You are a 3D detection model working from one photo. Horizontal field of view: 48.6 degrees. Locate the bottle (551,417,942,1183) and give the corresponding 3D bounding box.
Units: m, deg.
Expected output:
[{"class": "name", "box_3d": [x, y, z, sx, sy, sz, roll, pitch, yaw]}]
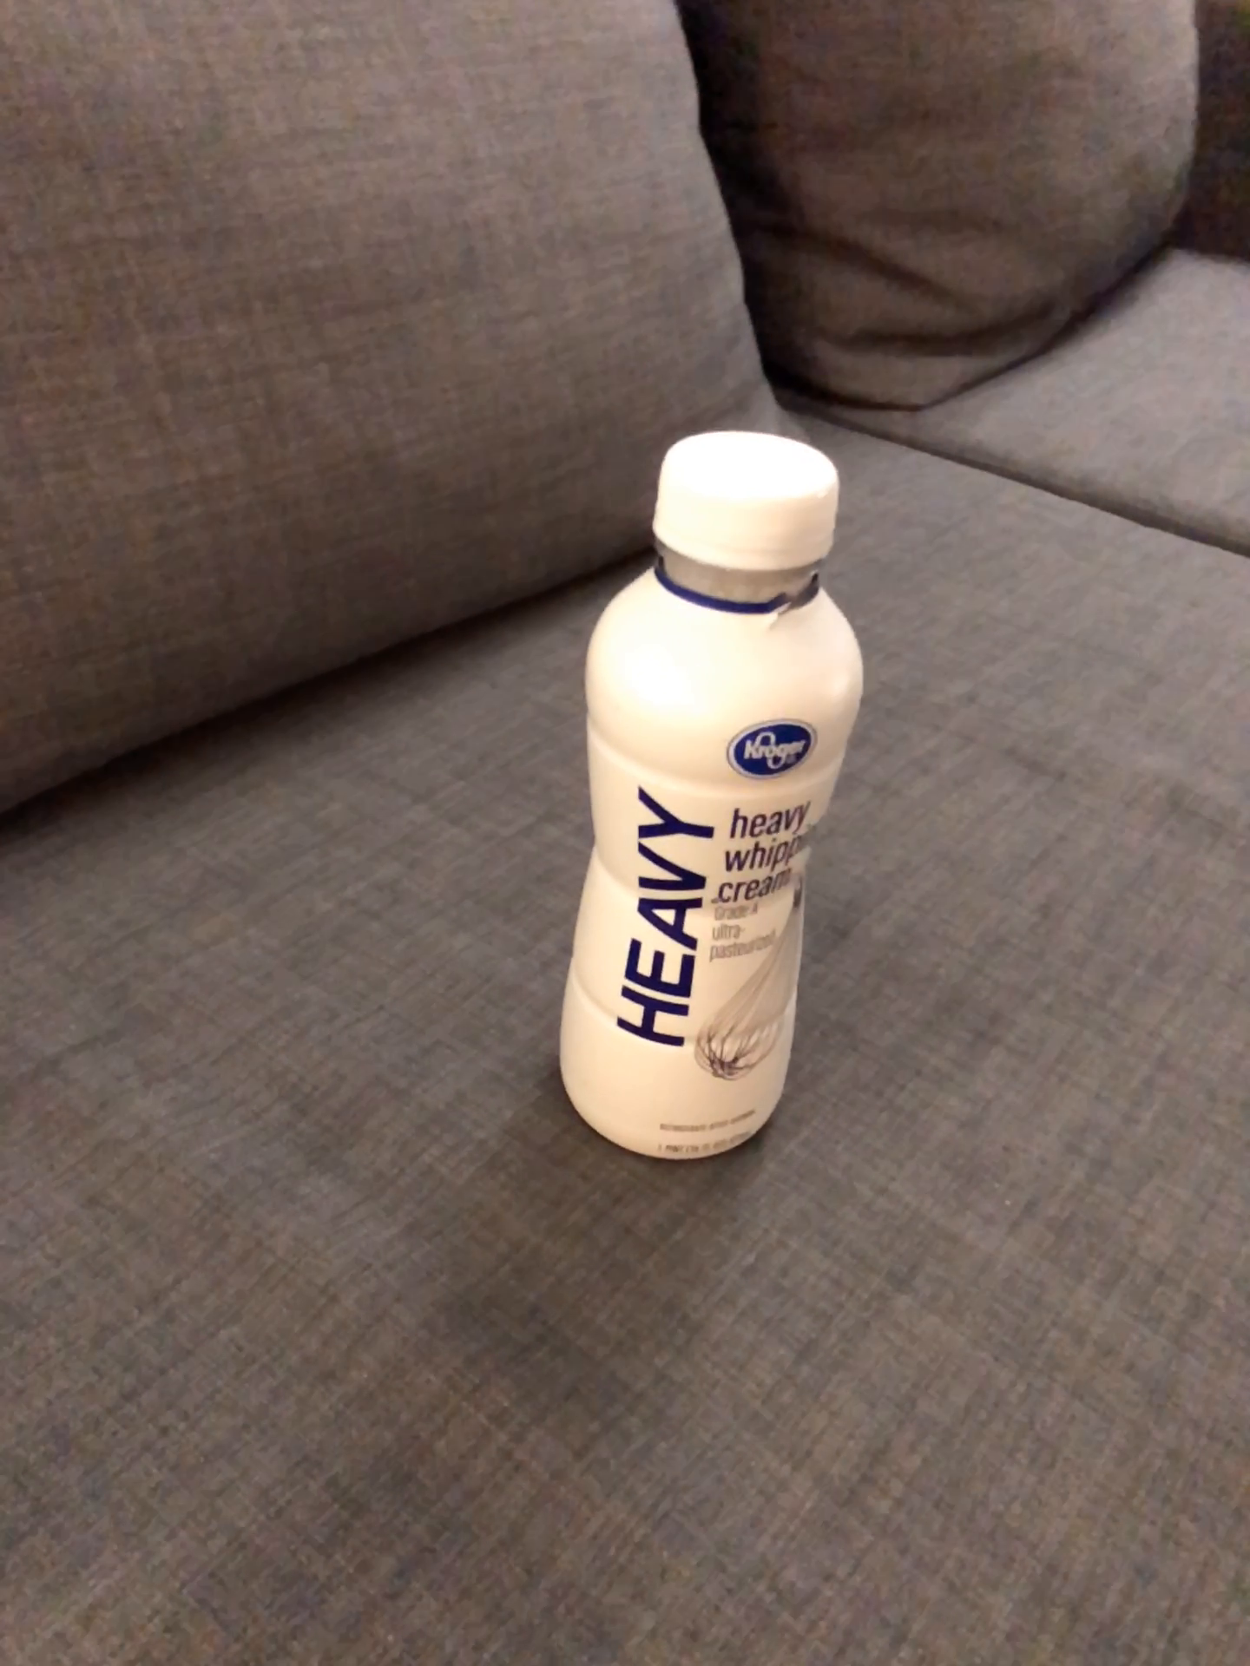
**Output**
[{"class": "bottle", "box_3d": [0.021, -0.003, 0.361, 0.070, 0.189, 0.070, 2, 36, -1]}]
